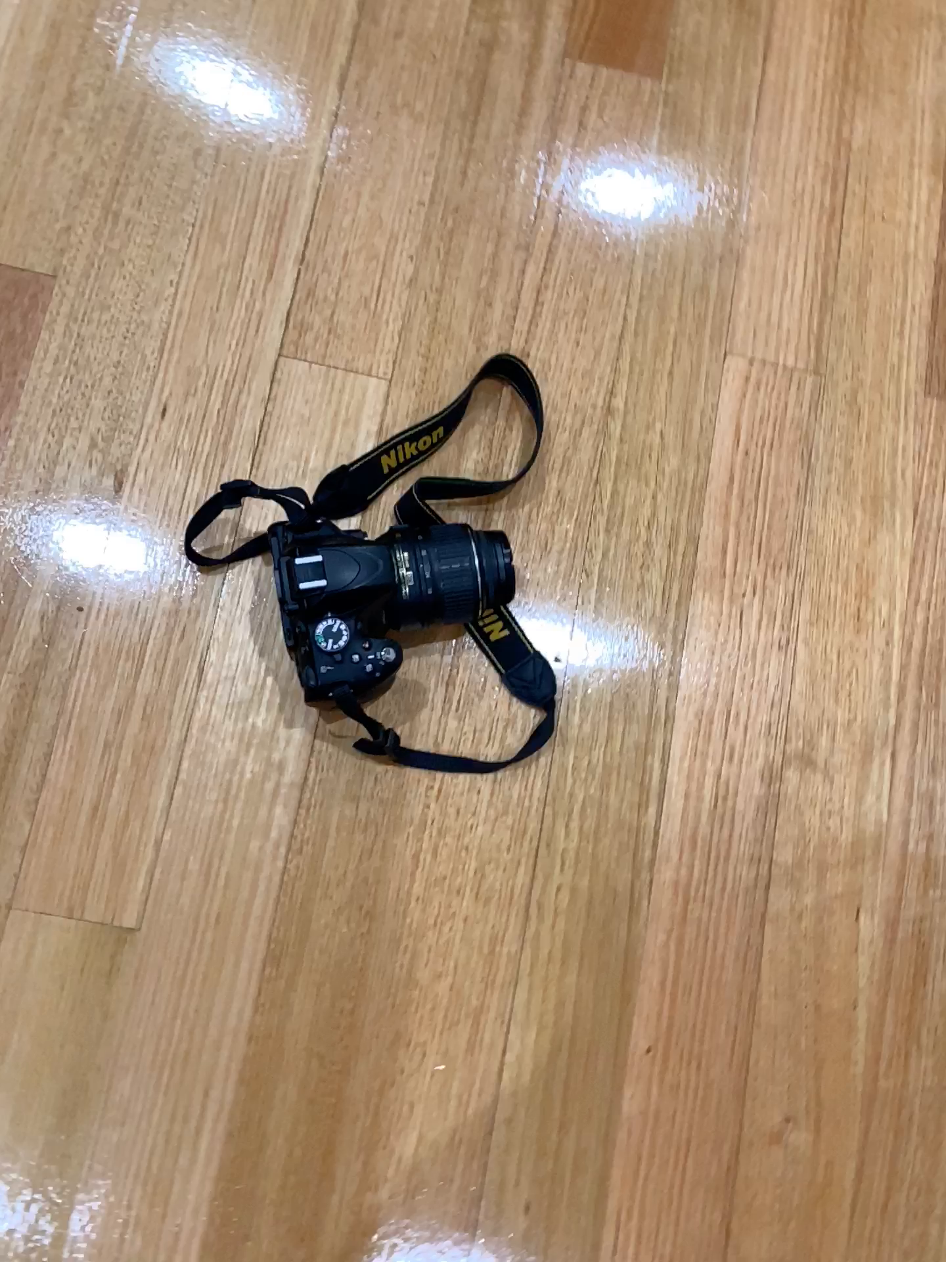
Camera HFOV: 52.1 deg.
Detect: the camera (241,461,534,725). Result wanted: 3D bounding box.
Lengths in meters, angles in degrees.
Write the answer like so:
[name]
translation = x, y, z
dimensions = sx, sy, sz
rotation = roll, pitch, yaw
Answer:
[camera]
translation = -0.060, -0.023, 0.662
dimensions = 0.160, 0.100, 0.130
rotation = -13, 81, -9
